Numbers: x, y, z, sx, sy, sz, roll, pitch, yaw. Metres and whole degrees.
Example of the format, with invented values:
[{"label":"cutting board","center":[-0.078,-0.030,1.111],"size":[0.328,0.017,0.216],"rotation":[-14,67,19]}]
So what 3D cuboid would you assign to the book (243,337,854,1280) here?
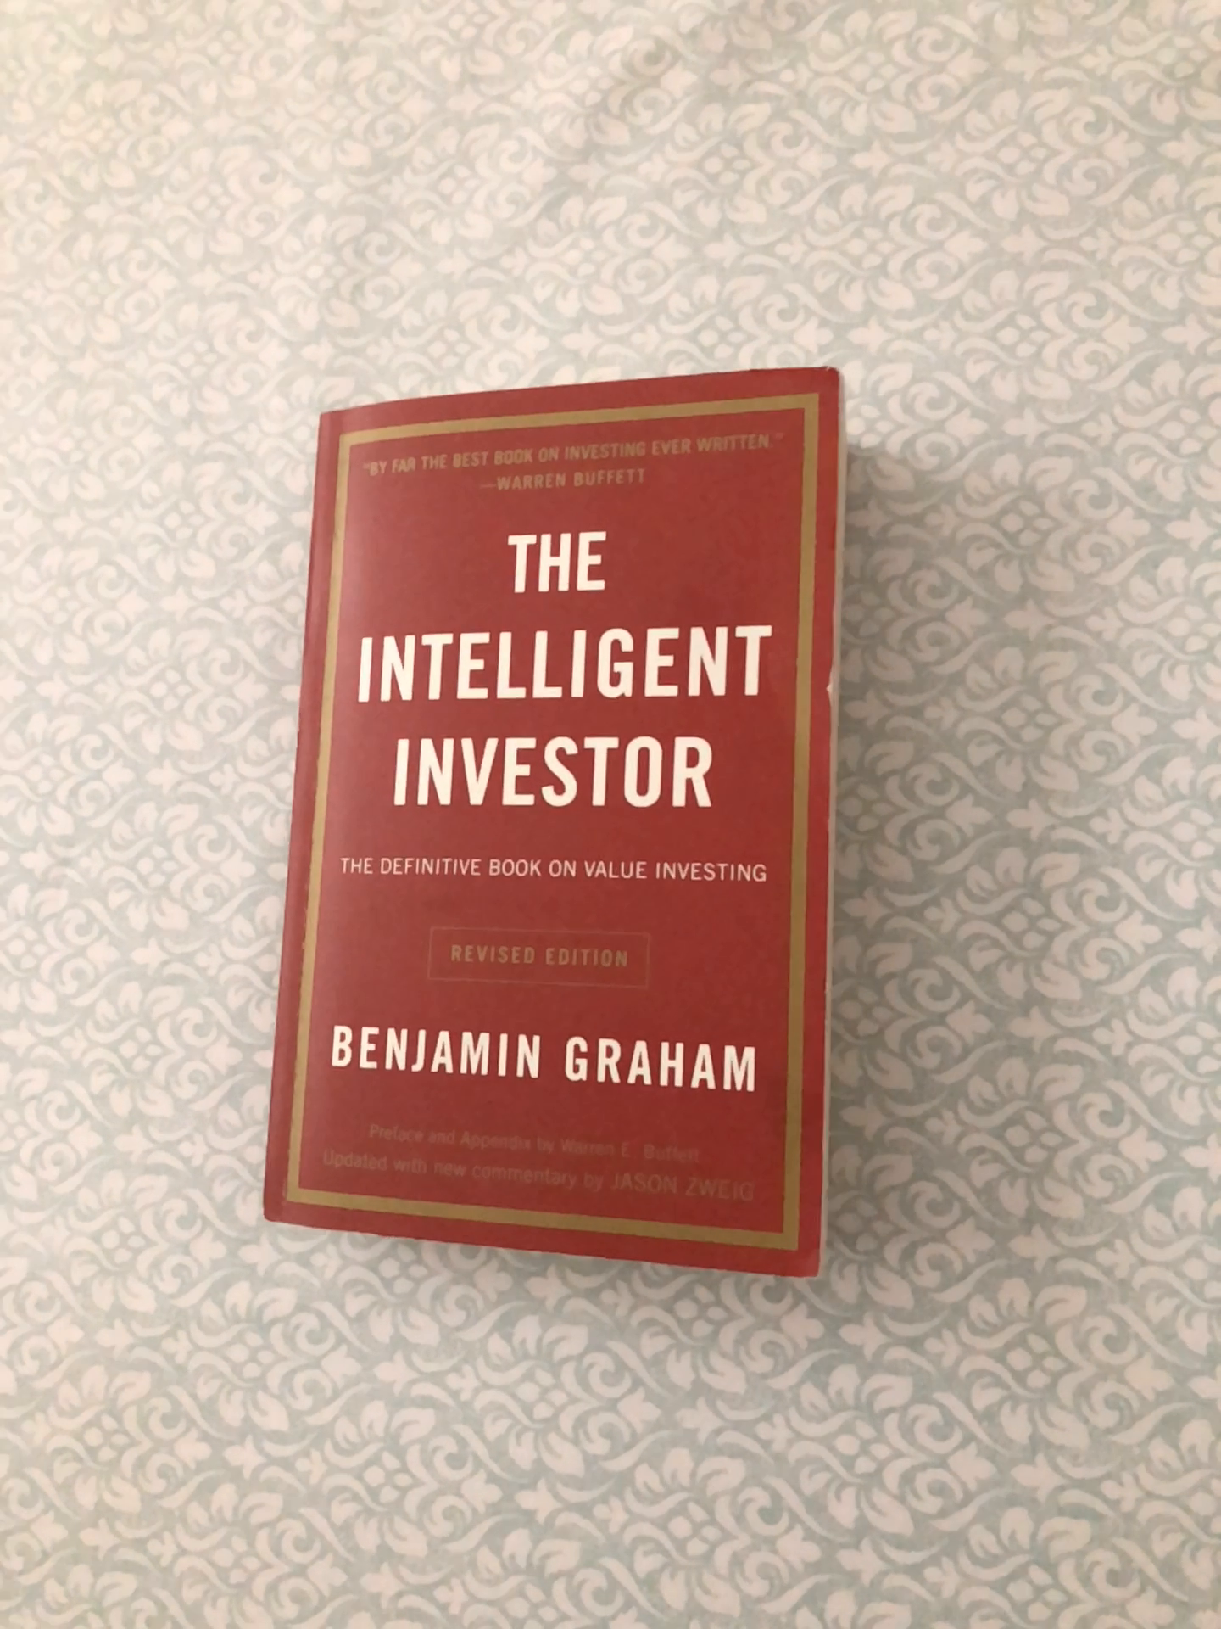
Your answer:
[{"label":"book","center":[-0.011,-0.002,0.326],"size":[0.130,0.050,0.200],"rotation":[0,83,16]}]
